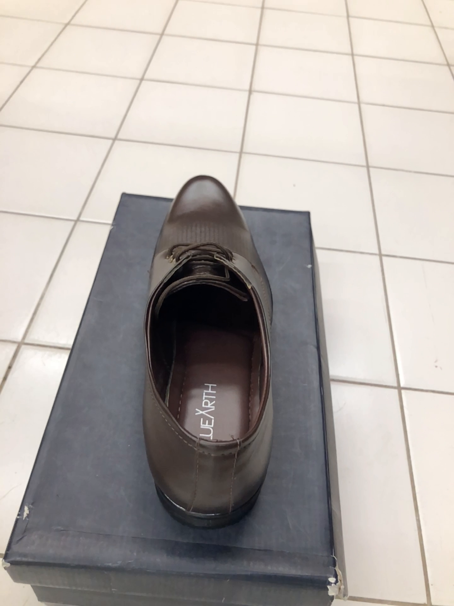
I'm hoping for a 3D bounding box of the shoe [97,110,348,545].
[{"bbox_3d":[-0.003,-0.007,0.356,0.110,0.099,0.302,3,50,-3],"label":"shoe"}]
